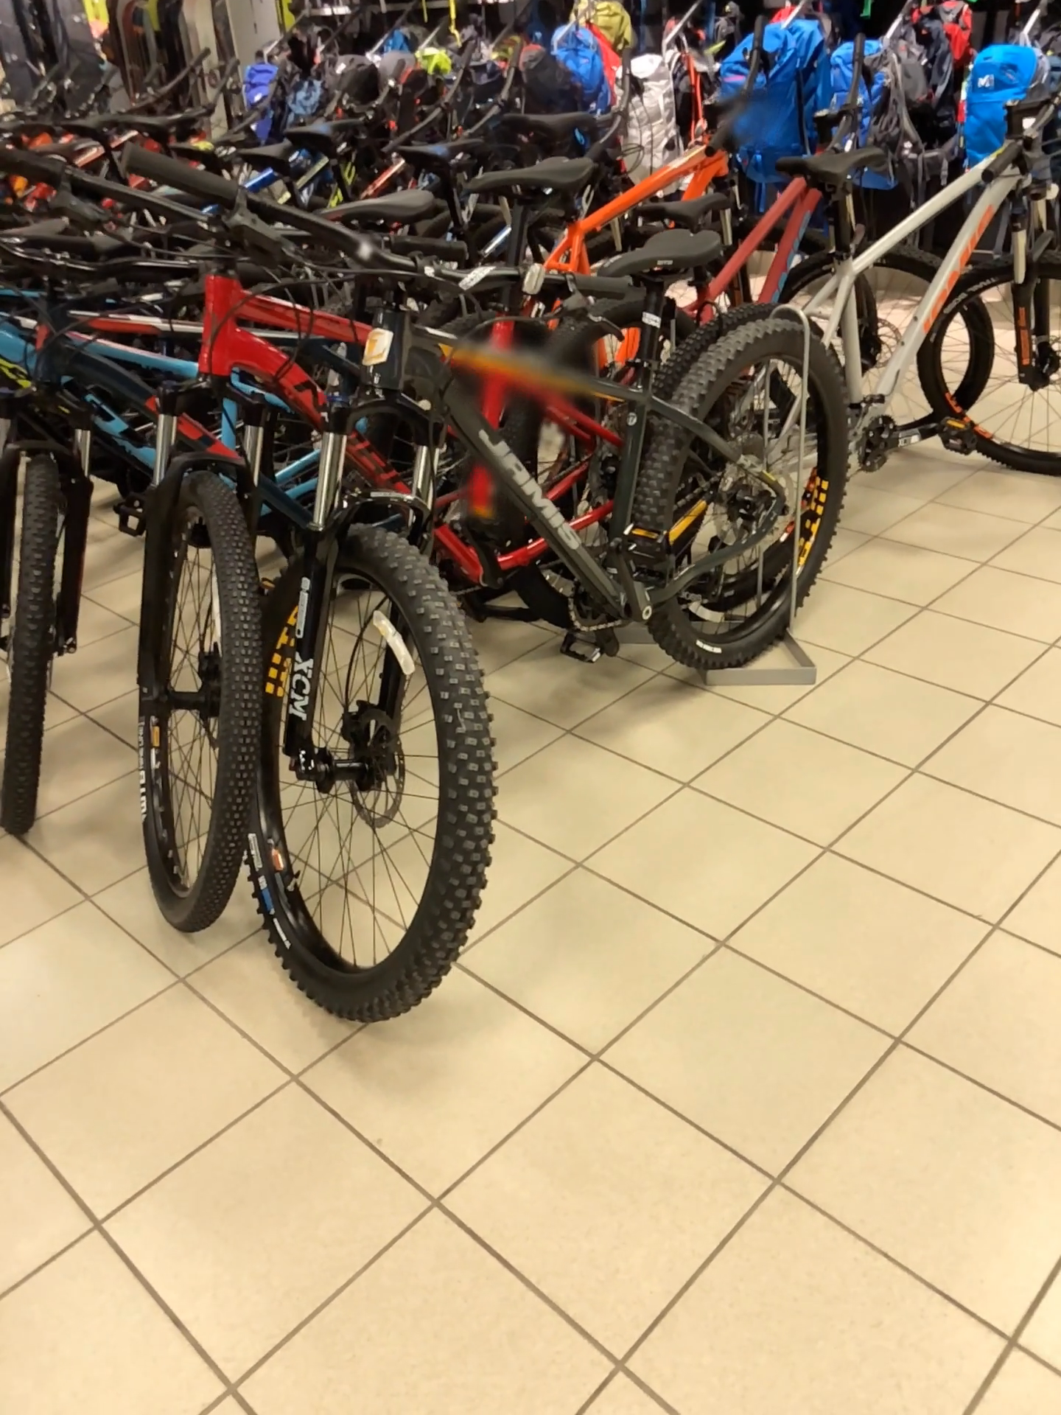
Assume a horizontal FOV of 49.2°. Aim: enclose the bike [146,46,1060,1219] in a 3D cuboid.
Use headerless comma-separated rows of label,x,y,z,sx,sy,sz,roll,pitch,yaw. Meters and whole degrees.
bike,0.278,-0.357,1.979,0.809,1.165,1.549,15,37,30
